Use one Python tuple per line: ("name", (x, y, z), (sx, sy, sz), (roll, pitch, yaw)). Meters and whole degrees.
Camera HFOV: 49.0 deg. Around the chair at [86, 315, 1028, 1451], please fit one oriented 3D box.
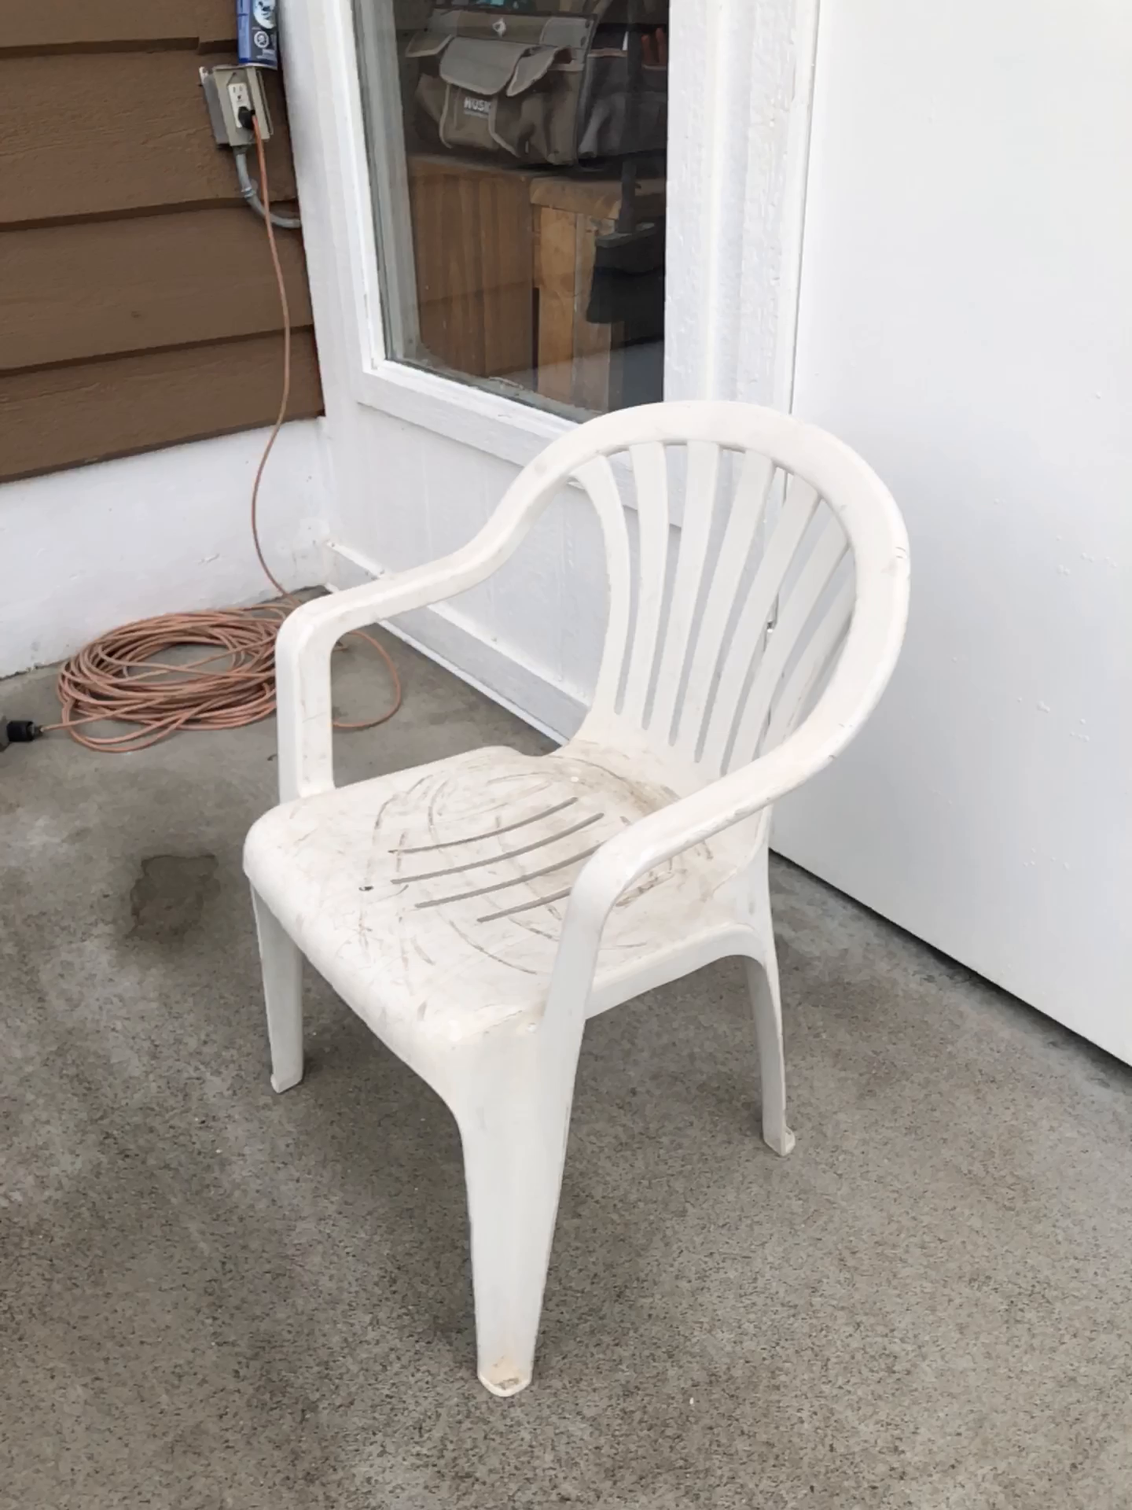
("chair", (-0.031, 0.058, 1.205), (0.510, 0.777, 0.602), (-21, 36, -30))
